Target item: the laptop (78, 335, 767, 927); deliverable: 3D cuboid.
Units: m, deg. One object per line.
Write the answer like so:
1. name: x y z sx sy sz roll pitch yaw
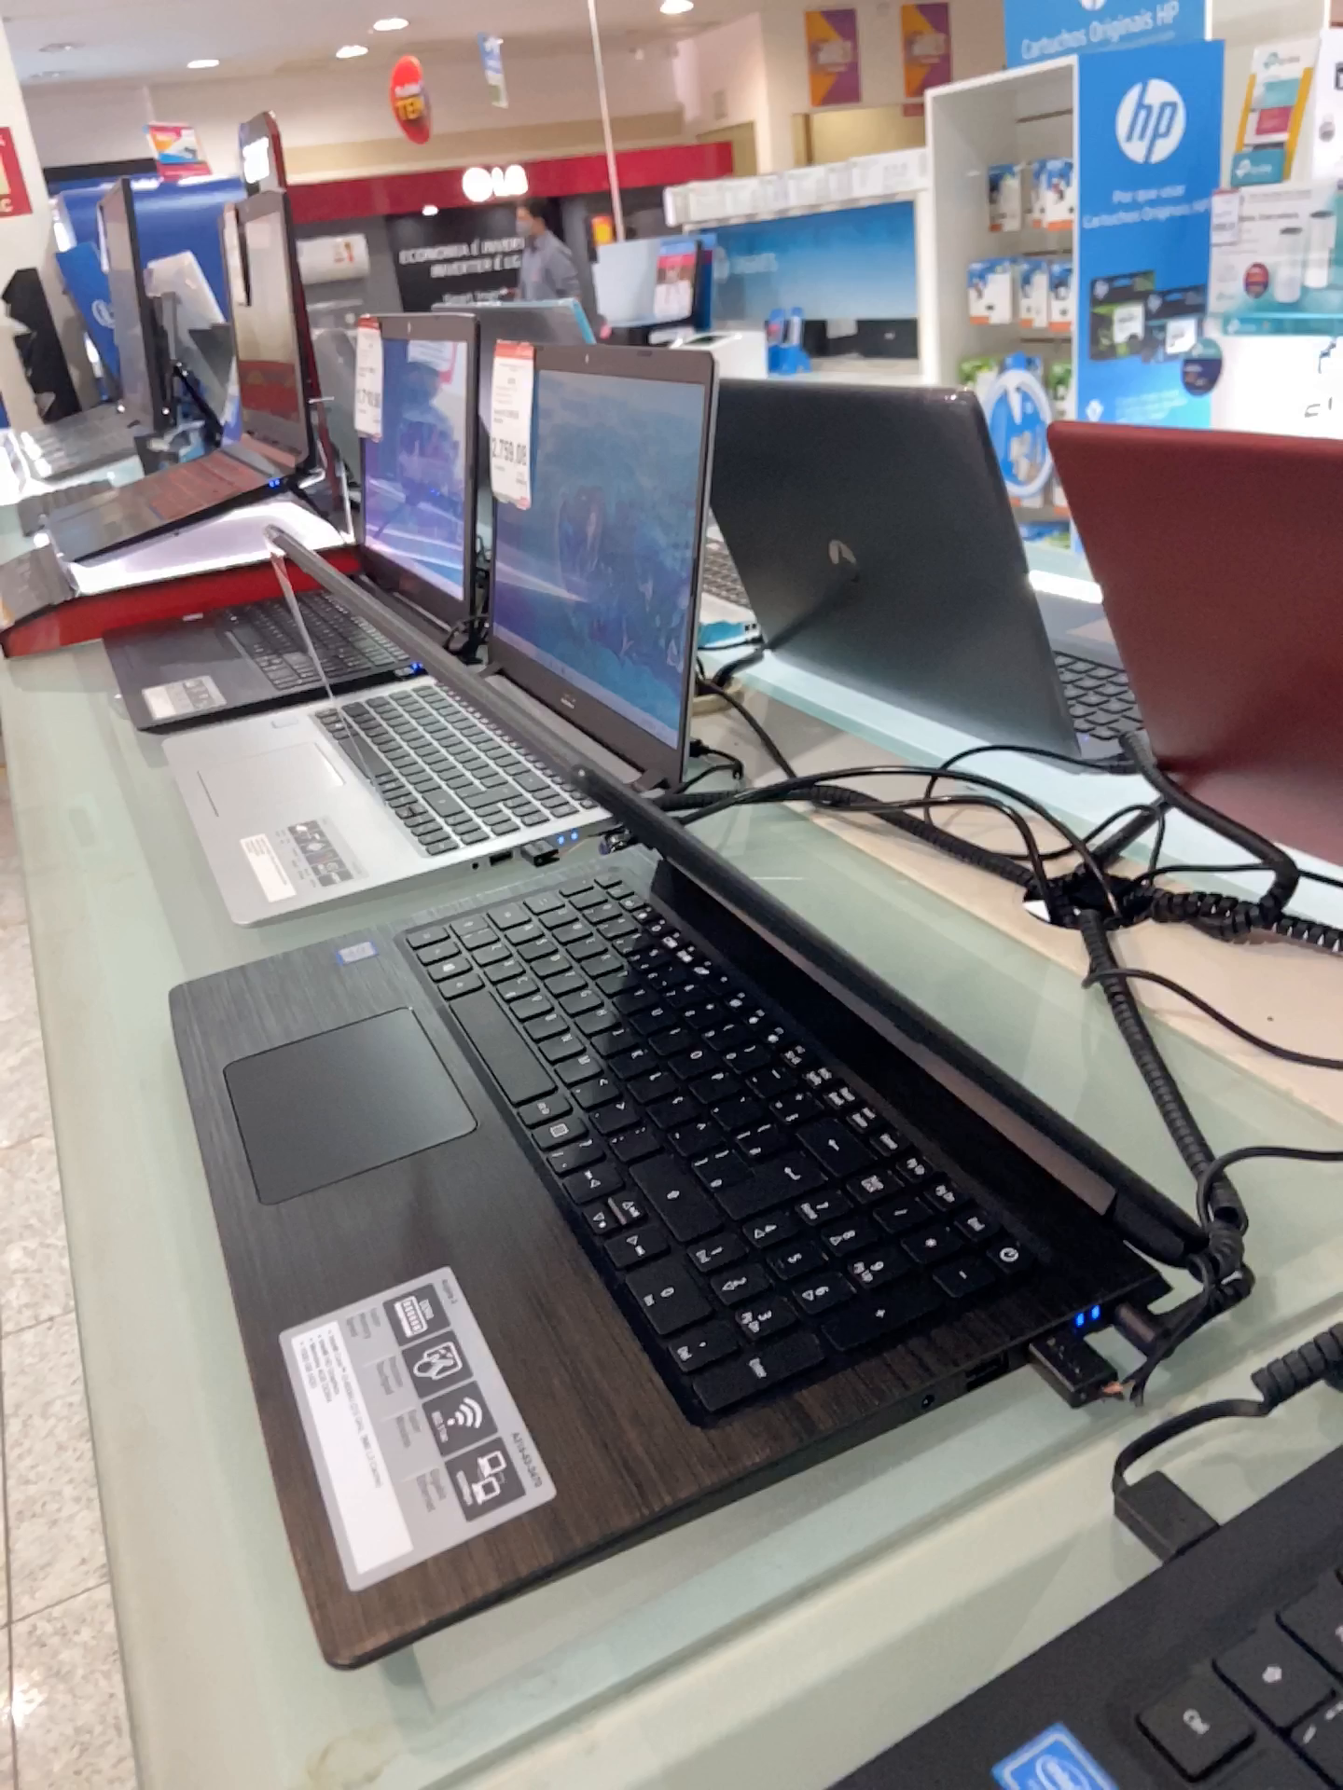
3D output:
1. laptop: -0.175 -0.198 0.861 0.302 0.233 0.397 -17 26 -18

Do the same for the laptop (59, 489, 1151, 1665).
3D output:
1. laptop: -0.058 -0.005 0.476 0.234 0.186 0.375 -17 26 -18

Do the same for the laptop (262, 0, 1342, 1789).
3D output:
1. laptop: 0.205 0.107 0.082 0.285 0.246 0.432 -20 28 -23
